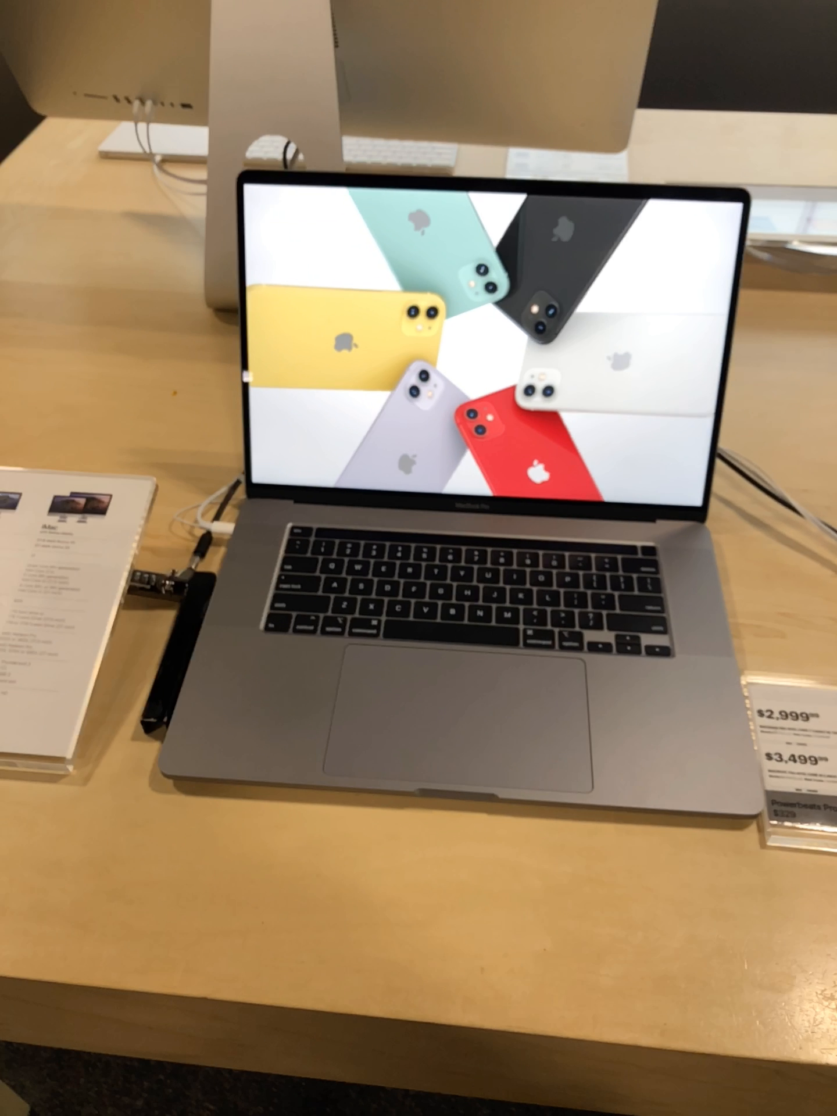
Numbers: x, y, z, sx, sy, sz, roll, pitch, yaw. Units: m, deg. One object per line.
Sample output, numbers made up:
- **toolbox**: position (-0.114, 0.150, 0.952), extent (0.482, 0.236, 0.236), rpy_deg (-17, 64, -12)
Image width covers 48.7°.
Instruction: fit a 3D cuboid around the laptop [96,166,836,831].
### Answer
- **laptop**: position (0.034, -0.062, 0.587), extent (0.336, 0.204, 0.350), rpy_deg (4, 46, 5)
